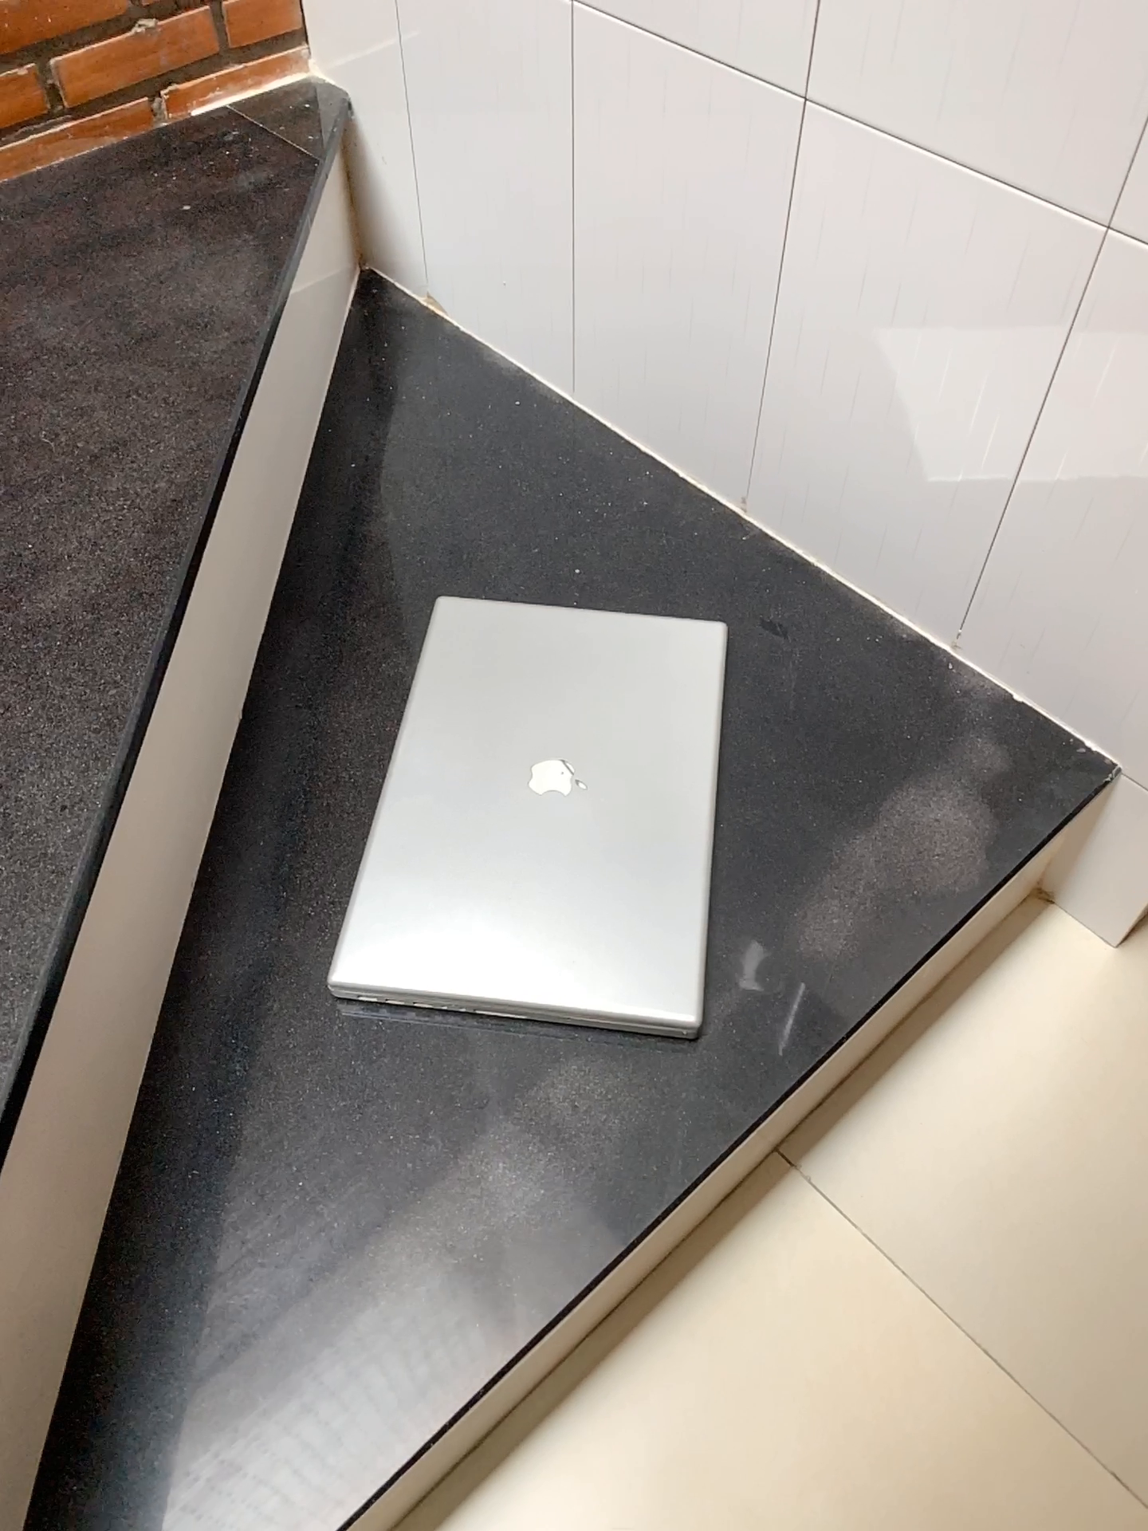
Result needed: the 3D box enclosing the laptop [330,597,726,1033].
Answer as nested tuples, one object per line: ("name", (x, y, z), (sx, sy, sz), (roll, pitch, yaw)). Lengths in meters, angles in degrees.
("laptop", (-0.019, 0.020, 1.064), (0.291, 0.013, 0.441), (7, 52, 2))
